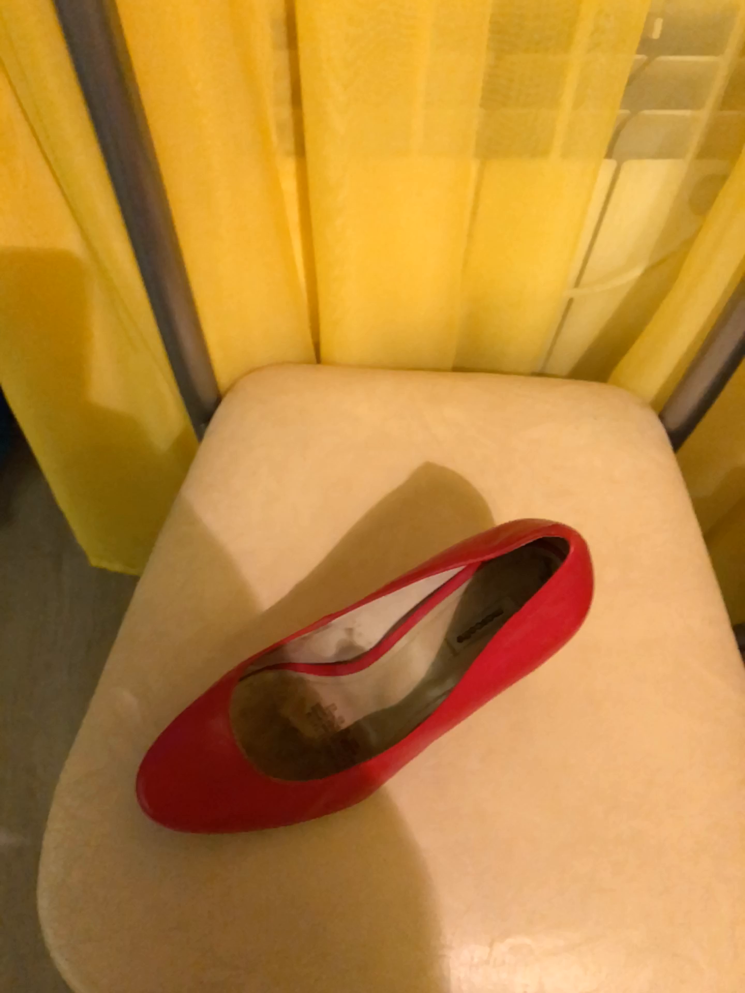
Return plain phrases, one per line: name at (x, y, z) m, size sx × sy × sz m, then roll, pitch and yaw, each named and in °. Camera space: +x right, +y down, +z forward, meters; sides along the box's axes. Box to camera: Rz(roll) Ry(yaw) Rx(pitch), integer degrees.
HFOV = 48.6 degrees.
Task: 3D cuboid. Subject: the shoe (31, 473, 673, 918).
shoe at (-0.007, 0.091, 0.370) m, size 0.229 × 0.130 × 0.080 m, roll -22°, pitch 68°, yaw -12°
